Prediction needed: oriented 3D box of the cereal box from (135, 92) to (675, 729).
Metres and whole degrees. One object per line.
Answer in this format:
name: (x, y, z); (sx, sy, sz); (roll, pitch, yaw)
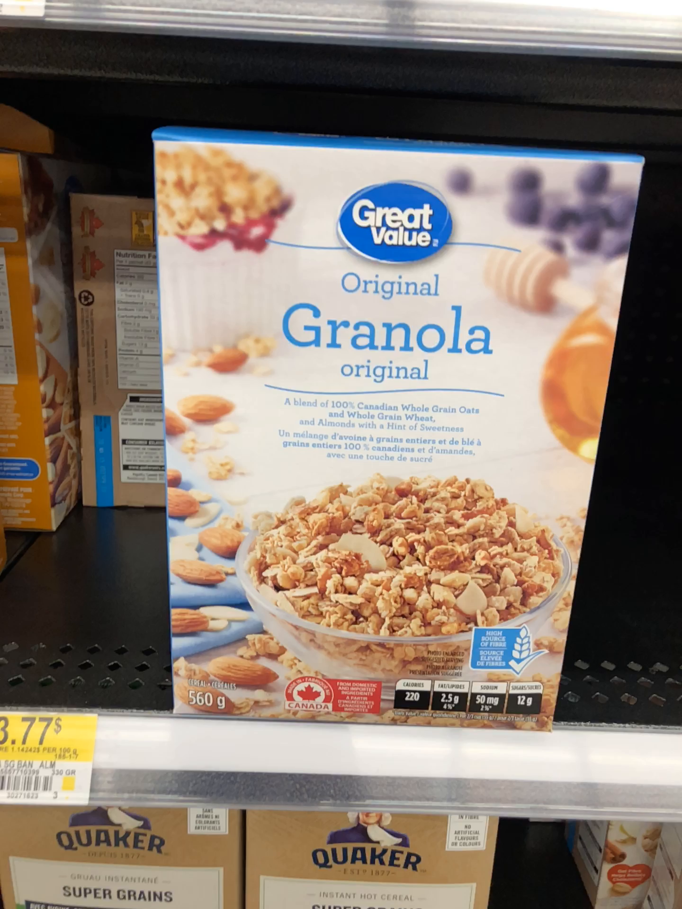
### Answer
cereal box: (0.015, -0.012, 0.292); (0.160, 0.219, 0.070); (3, 19, 0)
